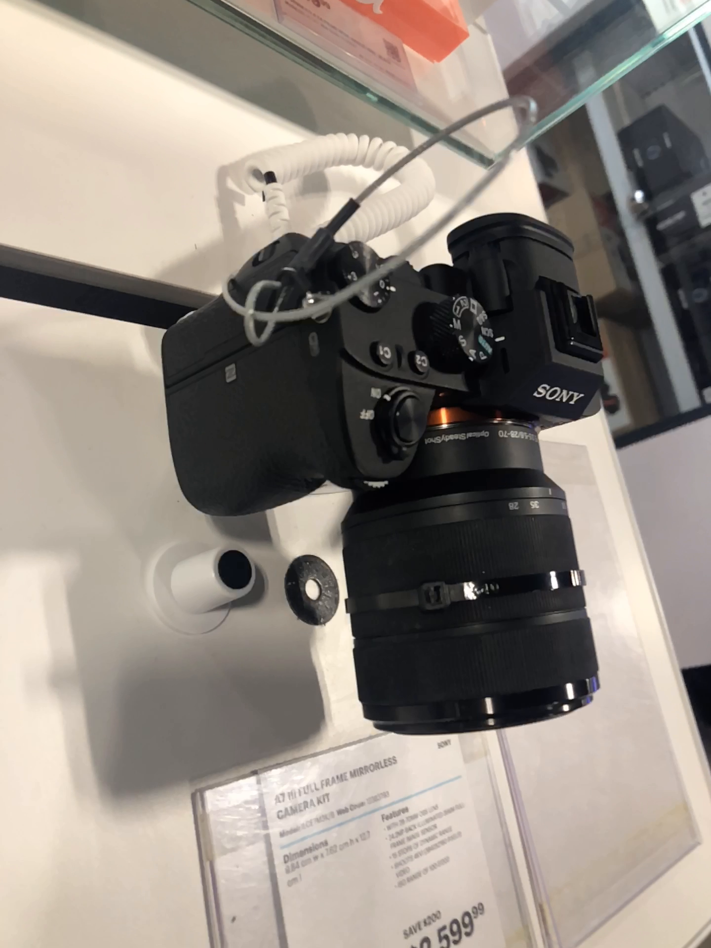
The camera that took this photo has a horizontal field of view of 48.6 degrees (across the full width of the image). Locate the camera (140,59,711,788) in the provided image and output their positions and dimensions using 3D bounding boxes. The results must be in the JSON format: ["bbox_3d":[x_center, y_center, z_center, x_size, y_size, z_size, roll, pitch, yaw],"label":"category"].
[{"bbox_3d":[0.030,-0.002,0.213,0.121,0.099,0.130,2,71,-47],"label":"camera"}]
